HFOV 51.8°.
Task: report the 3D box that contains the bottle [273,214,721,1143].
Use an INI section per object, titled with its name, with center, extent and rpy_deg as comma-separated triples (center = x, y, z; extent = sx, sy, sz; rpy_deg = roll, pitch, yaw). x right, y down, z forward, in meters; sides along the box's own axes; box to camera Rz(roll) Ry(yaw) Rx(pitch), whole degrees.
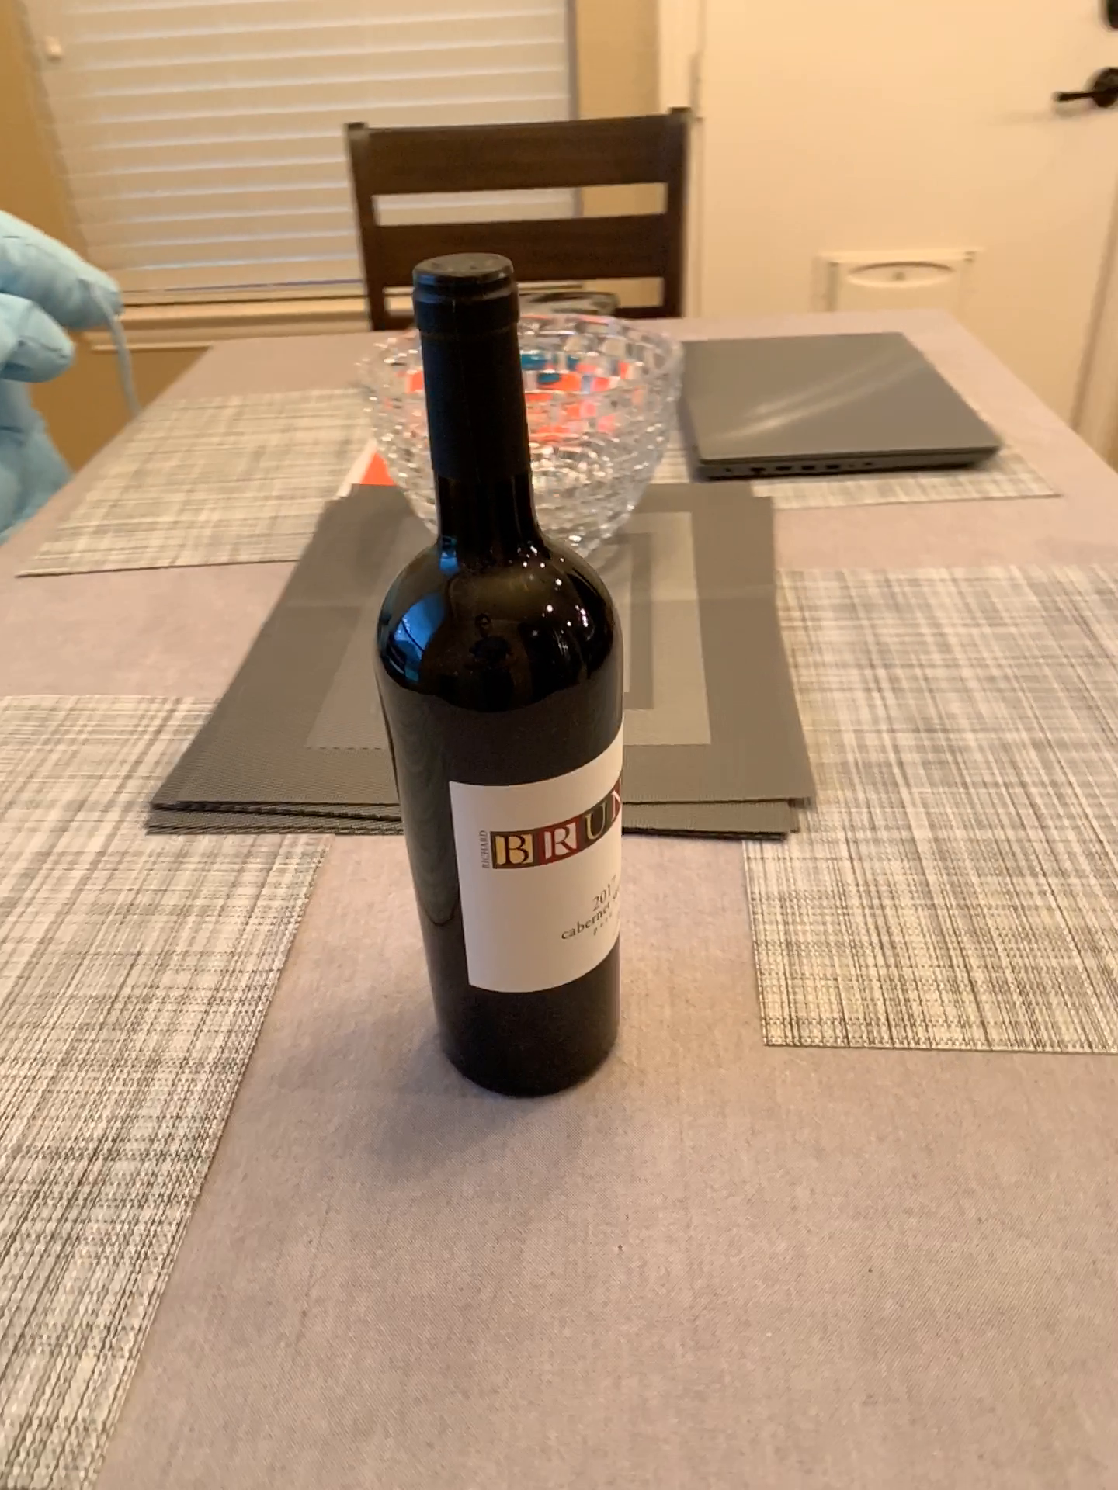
[bottle]
center = -0.009, -0.010, 0.394
extent = 0.090, 0.298, 0.084
rpy_deg = -2, 33, 1
